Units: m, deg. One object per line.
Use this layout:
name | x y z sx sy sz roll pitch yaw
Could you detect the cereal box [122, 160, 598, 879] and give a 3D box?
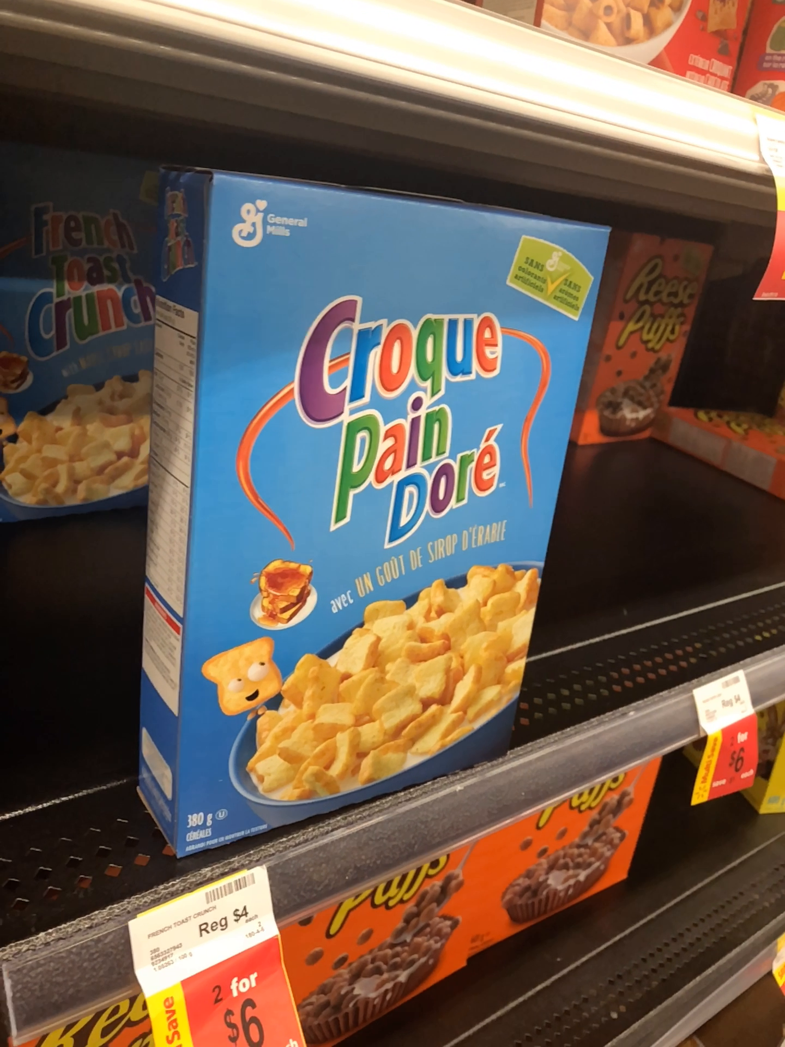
cereal box | -0.019 -0.001 0.420 0.200 0.299 0.060 -5 21 -34
